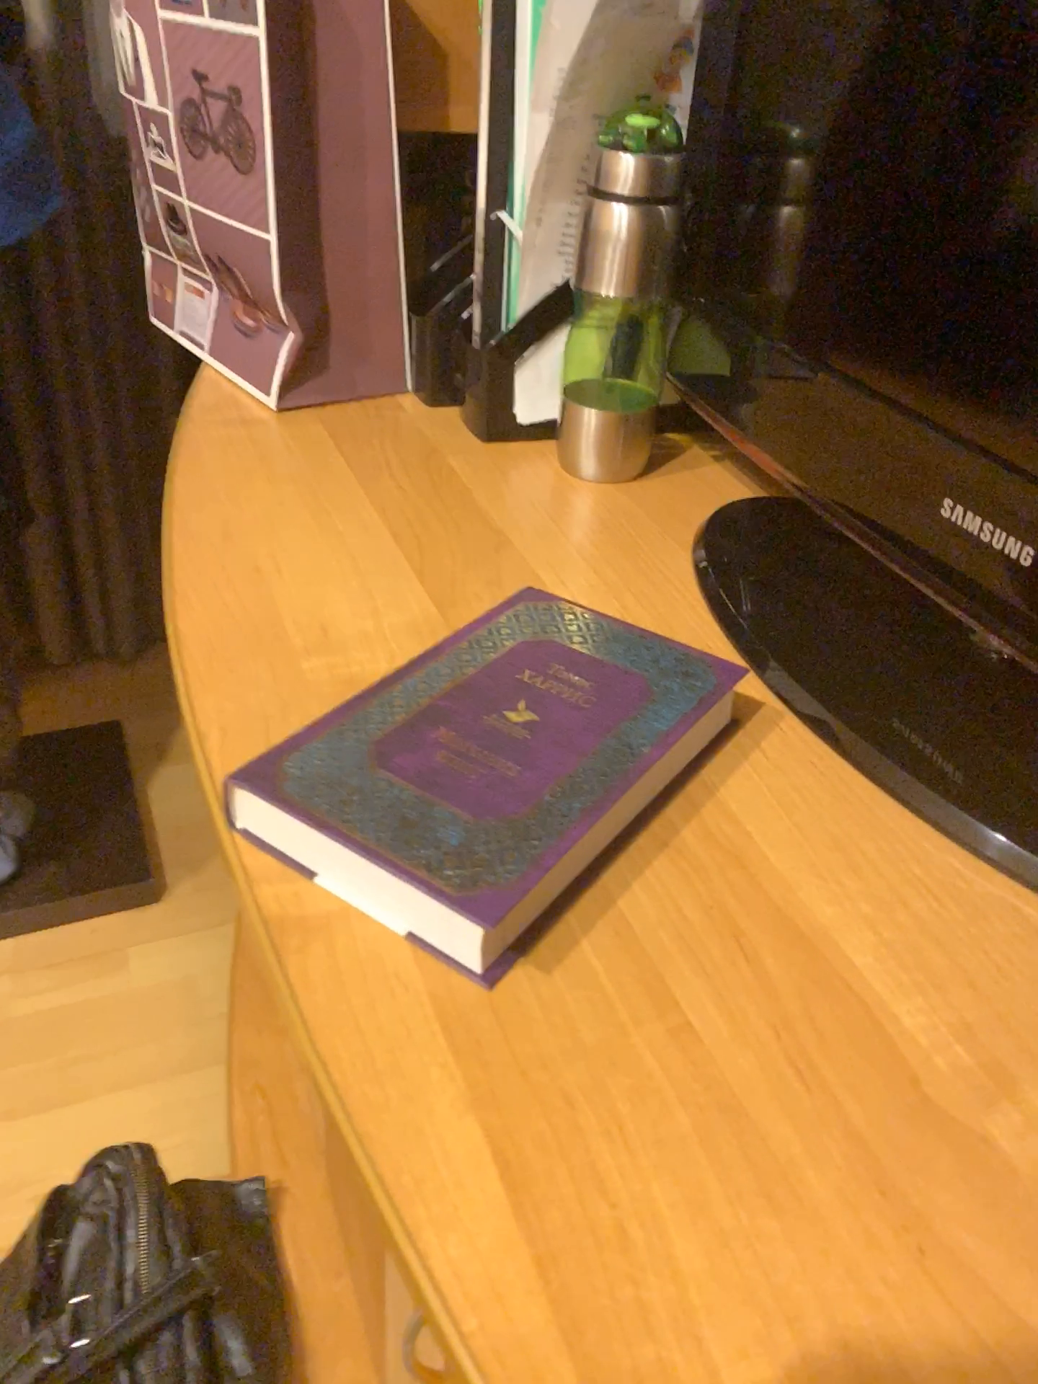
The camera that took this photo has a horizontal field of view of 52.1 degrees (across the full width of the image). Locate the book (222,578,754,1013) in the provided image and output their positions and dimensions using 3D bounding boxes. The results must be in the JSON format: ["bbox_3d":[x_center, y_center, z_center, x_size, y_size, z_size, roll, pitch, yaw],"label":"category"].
[{"bbox_3d":[-0.004,0.027,0.458,0.130,0.040,0.201,24,40,26],"label":"book"}]
